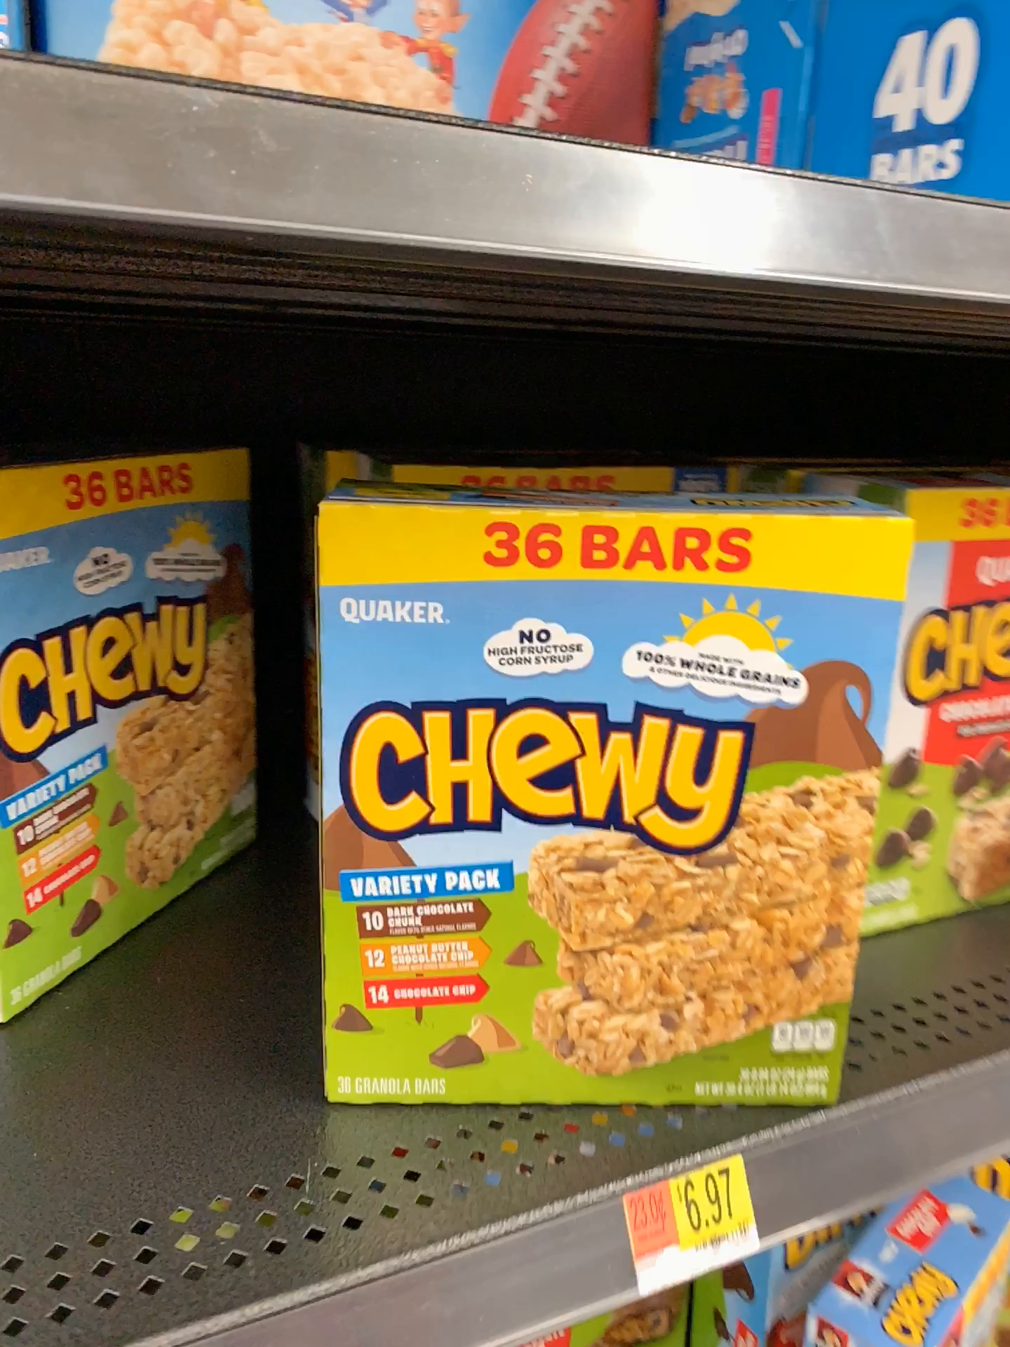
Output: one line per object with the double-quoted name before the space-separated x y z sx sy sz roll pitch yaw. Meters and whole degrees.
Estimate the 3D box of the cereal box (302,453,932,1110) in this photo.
"cereal box" 0.031 0.040 0.392 0.200 0.229 0.070 2 15 -2
